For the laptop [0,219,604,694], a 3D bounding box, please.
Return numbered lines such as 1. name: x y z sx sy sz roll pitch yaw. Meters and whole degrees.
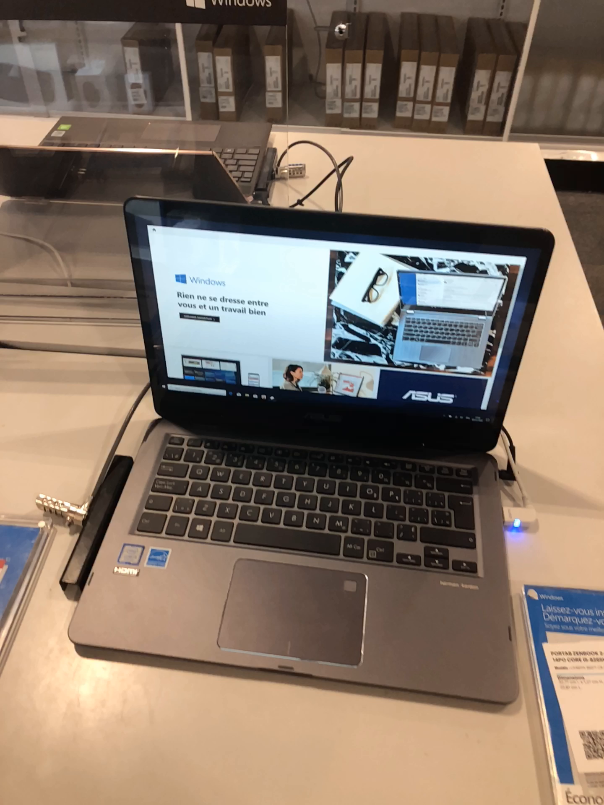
1. laptop: 0.004 0.030 0.464 0.302 0.217 0.225 5 44 6
